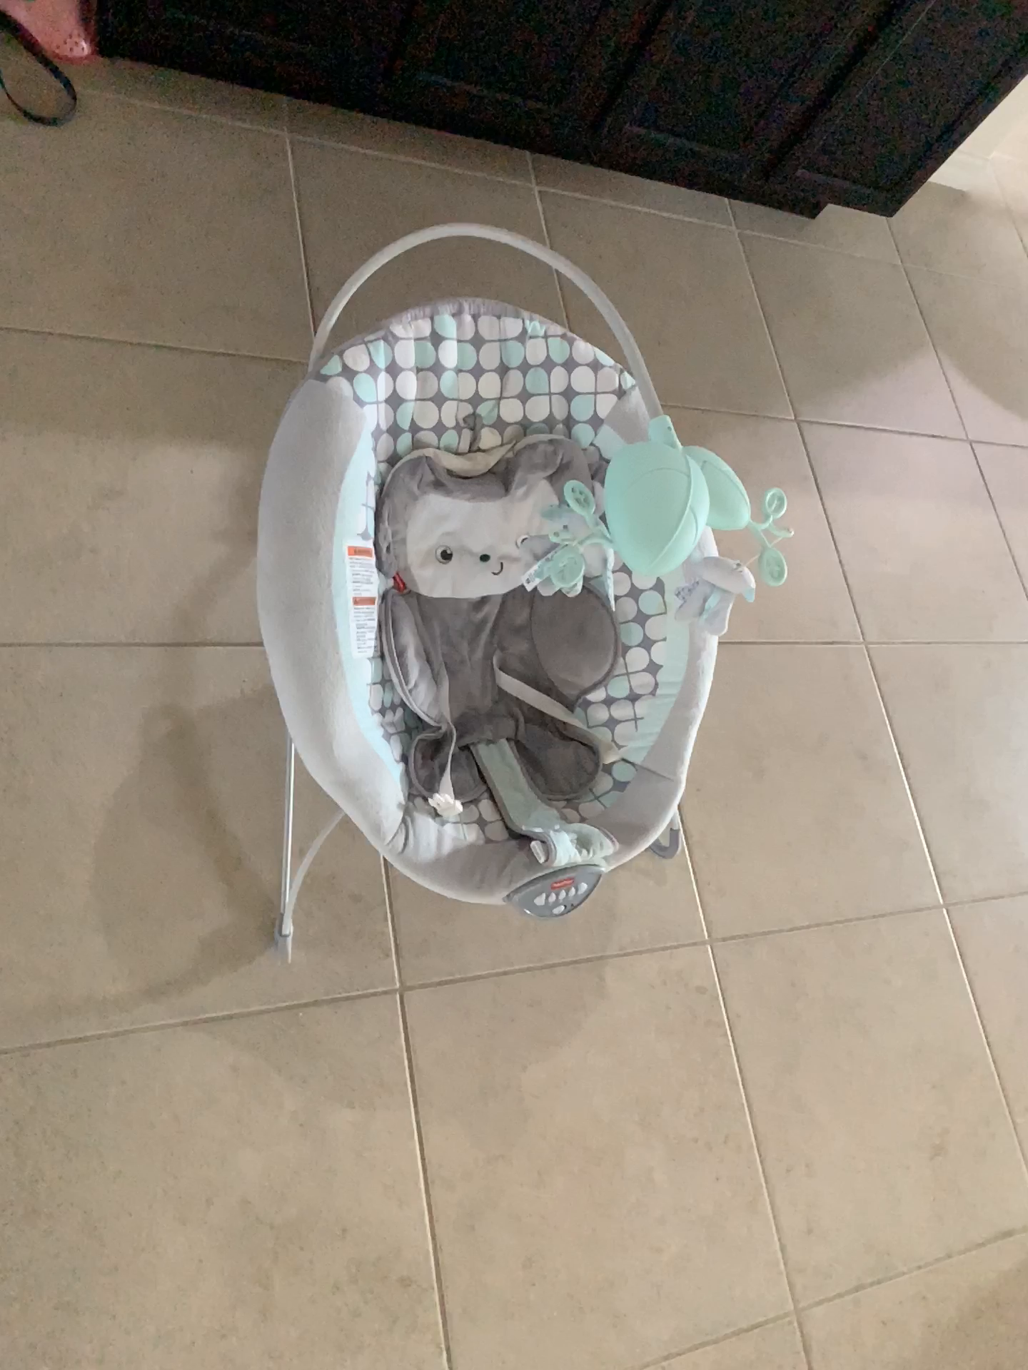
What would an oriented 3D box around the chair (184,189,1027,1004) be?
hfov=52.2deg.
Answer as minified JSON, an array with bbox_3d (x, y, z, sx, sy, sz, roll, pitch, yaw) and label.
[{"bbox_3d":[0.033,-0.048,1.098,0.574,0.580,0.546,-6,70,-28],"label":"chair"}]
